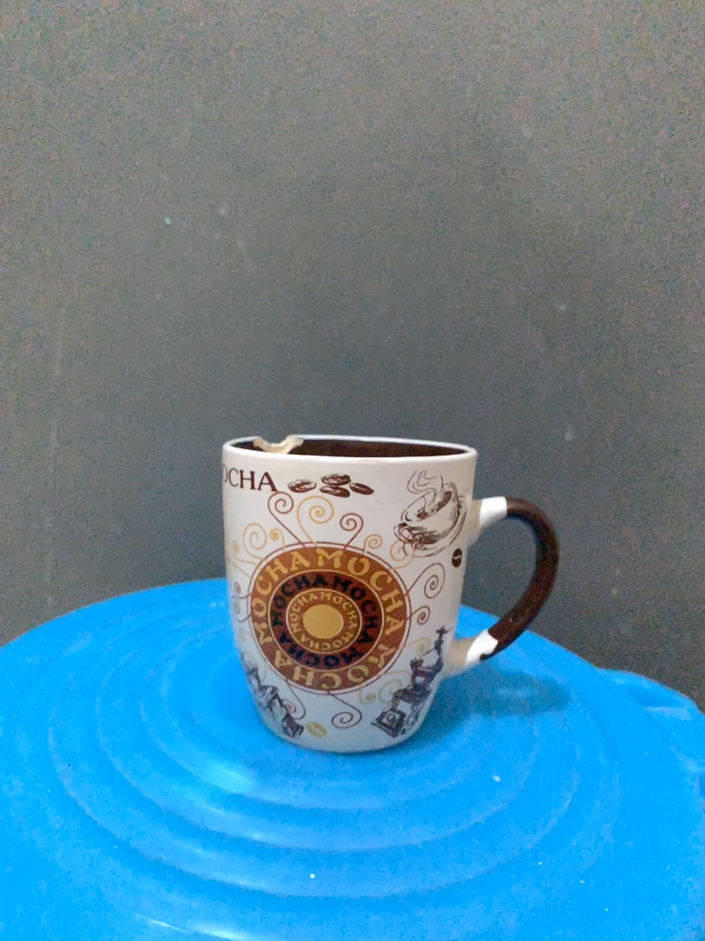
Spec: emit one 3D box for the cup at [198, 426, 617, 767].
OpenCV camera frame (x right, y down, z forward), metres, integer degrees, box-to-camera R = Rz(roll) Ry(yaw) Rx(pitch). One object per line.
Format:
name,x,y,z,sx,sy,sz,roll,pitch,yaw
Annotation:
cup,0.010,0.032,0.232,0.109,0.083,0.070,1,7,-9
